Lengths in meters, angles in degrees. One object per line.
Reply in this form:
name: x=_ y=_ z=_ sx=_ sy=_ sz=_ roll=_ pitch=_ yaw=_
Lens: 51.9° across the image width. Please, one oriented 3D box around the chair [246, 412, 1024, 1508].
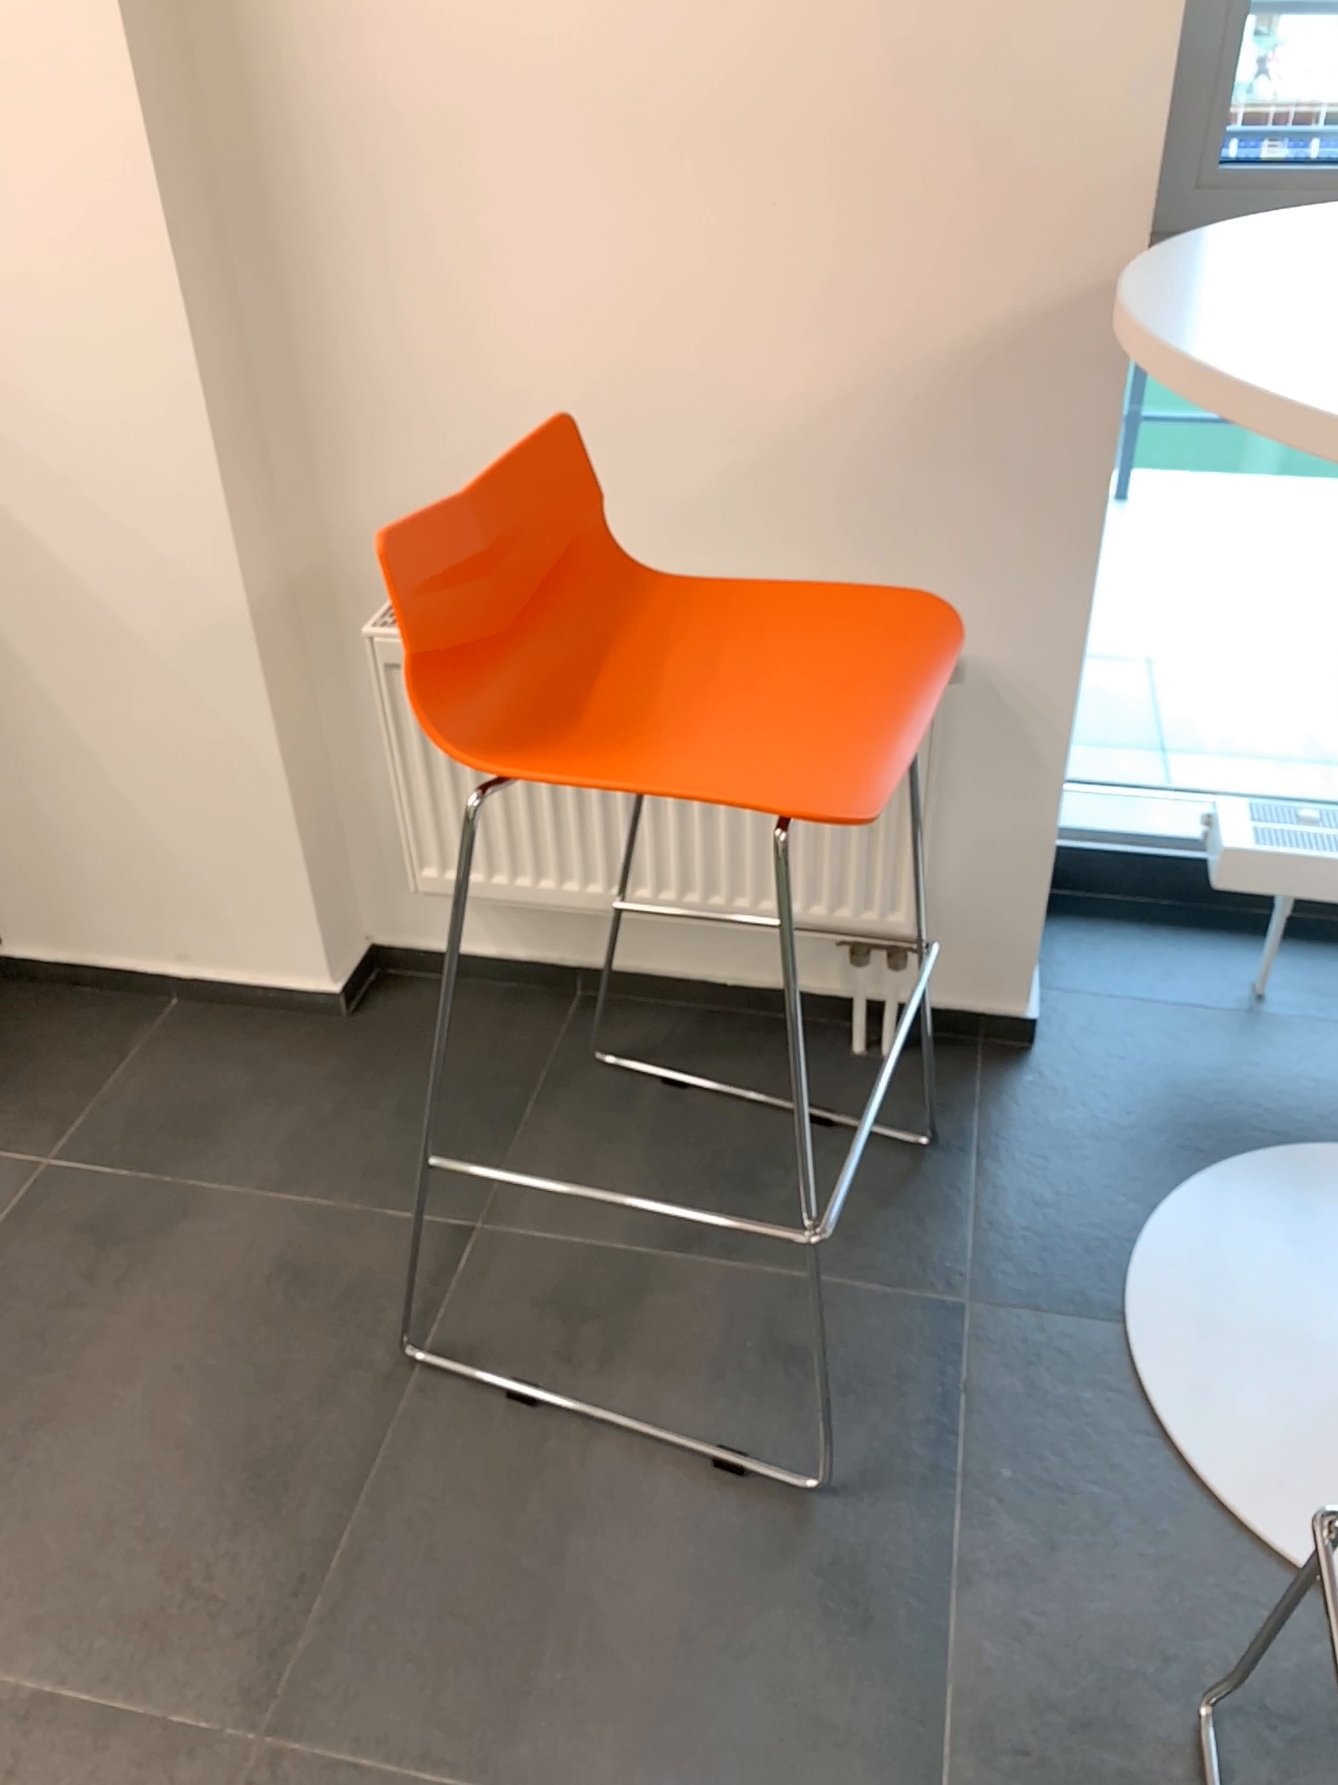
chair: x=0.019 y=0.054 z=1.447 sx=0.500 sy=0.905 sz=0.573 roll=11 pitch=36 yaw=17
